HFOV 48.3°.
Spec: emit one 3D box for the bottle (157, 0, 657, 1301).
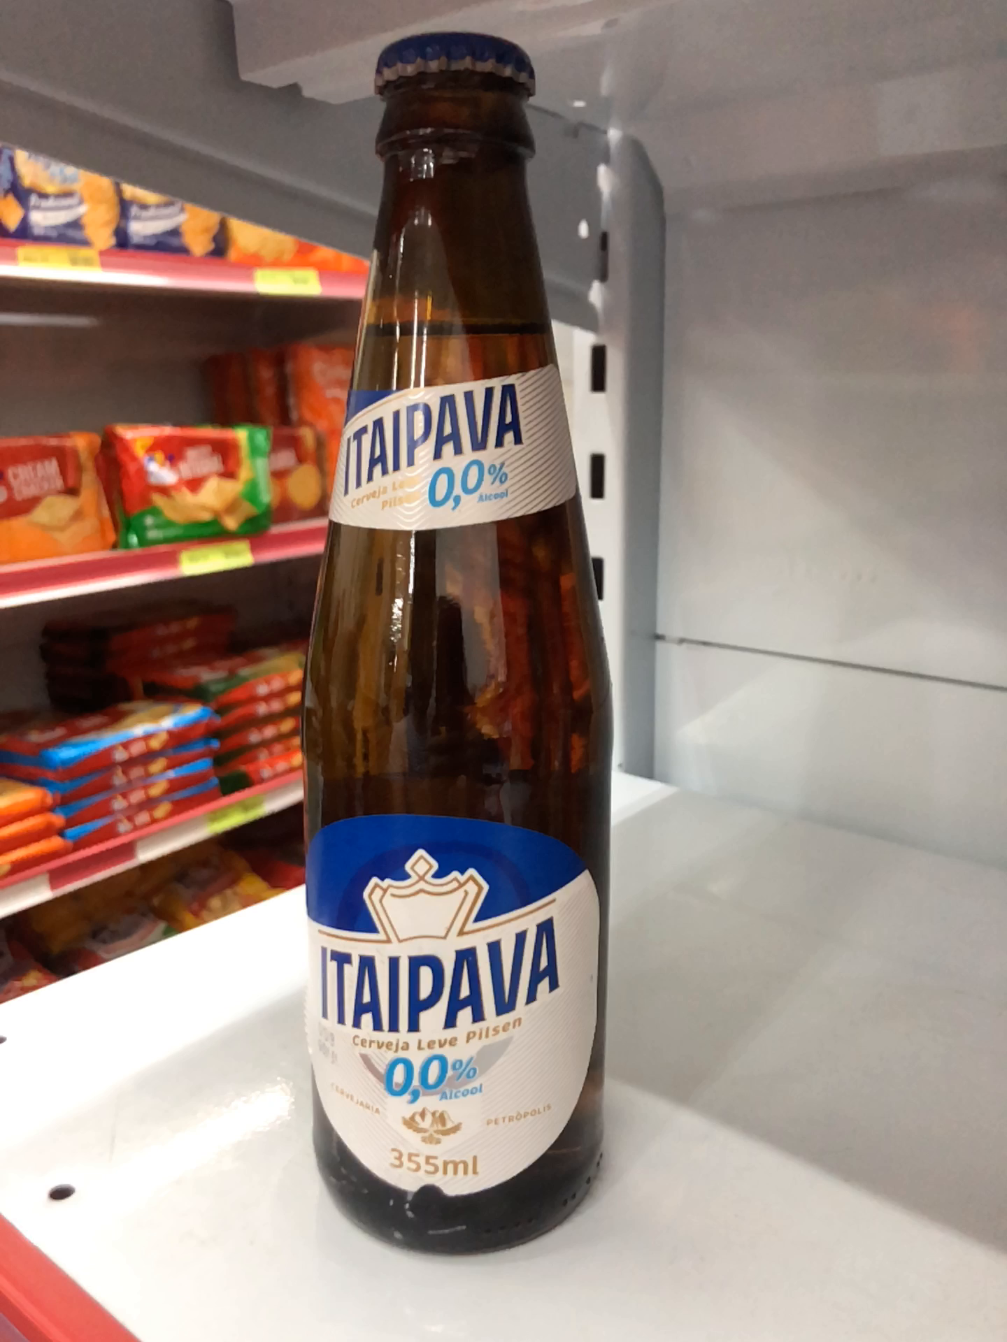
[{"bbox_3d":[-0.008,-0.008,0.194,0.060,0.209,0.060,-1,13,0],"label":"bottle"}]
